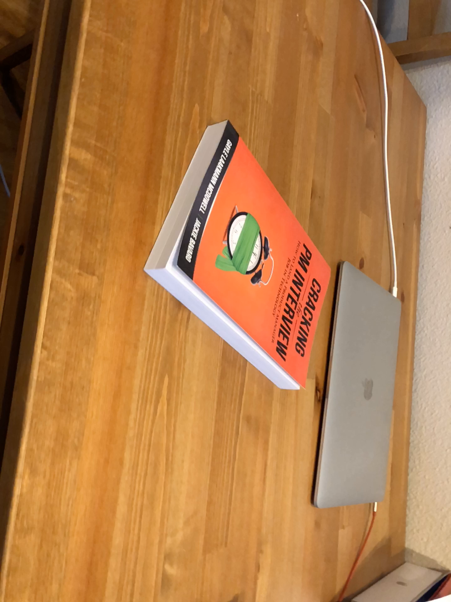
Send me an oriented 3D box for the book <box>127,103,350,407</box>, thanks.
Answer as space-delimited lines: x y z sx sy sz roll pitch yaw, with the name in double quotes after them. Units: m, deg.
0.036 -0.025 0.465 0.251 0.040 0.160 44 56 -43 "book"
